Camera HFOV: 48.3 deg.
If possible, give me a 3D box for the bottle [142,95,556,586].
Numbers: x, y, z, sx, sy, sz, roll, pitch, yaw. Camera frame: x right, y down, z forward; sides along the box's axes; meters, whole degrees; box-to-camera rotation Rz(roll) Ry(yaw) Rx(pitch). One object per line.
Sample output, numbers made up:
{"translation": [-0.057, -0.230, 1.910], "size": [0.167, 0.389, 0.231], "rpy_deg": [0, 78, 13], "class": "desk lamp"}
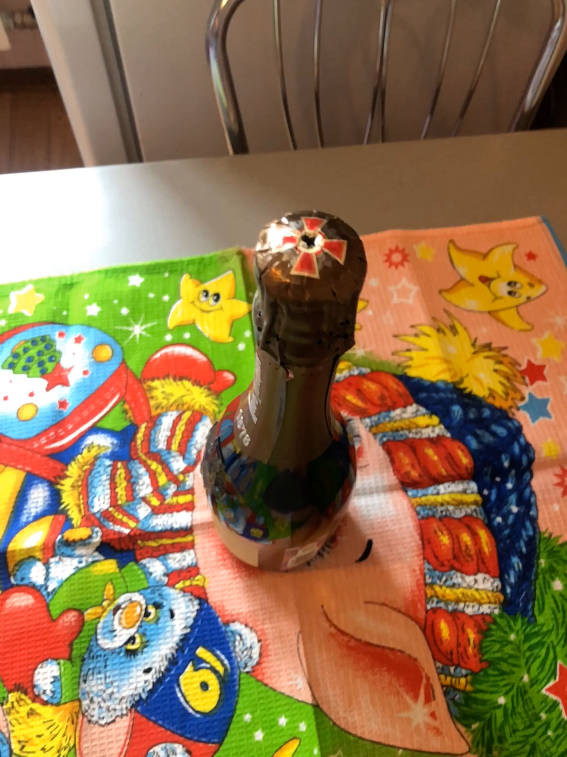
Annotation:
{"translation": [0.005, 0.027, 0.301], "size": [0.093, 0.309, 0.090], "rpy_deg": [1, 65, -2], "class": "bottle"}
